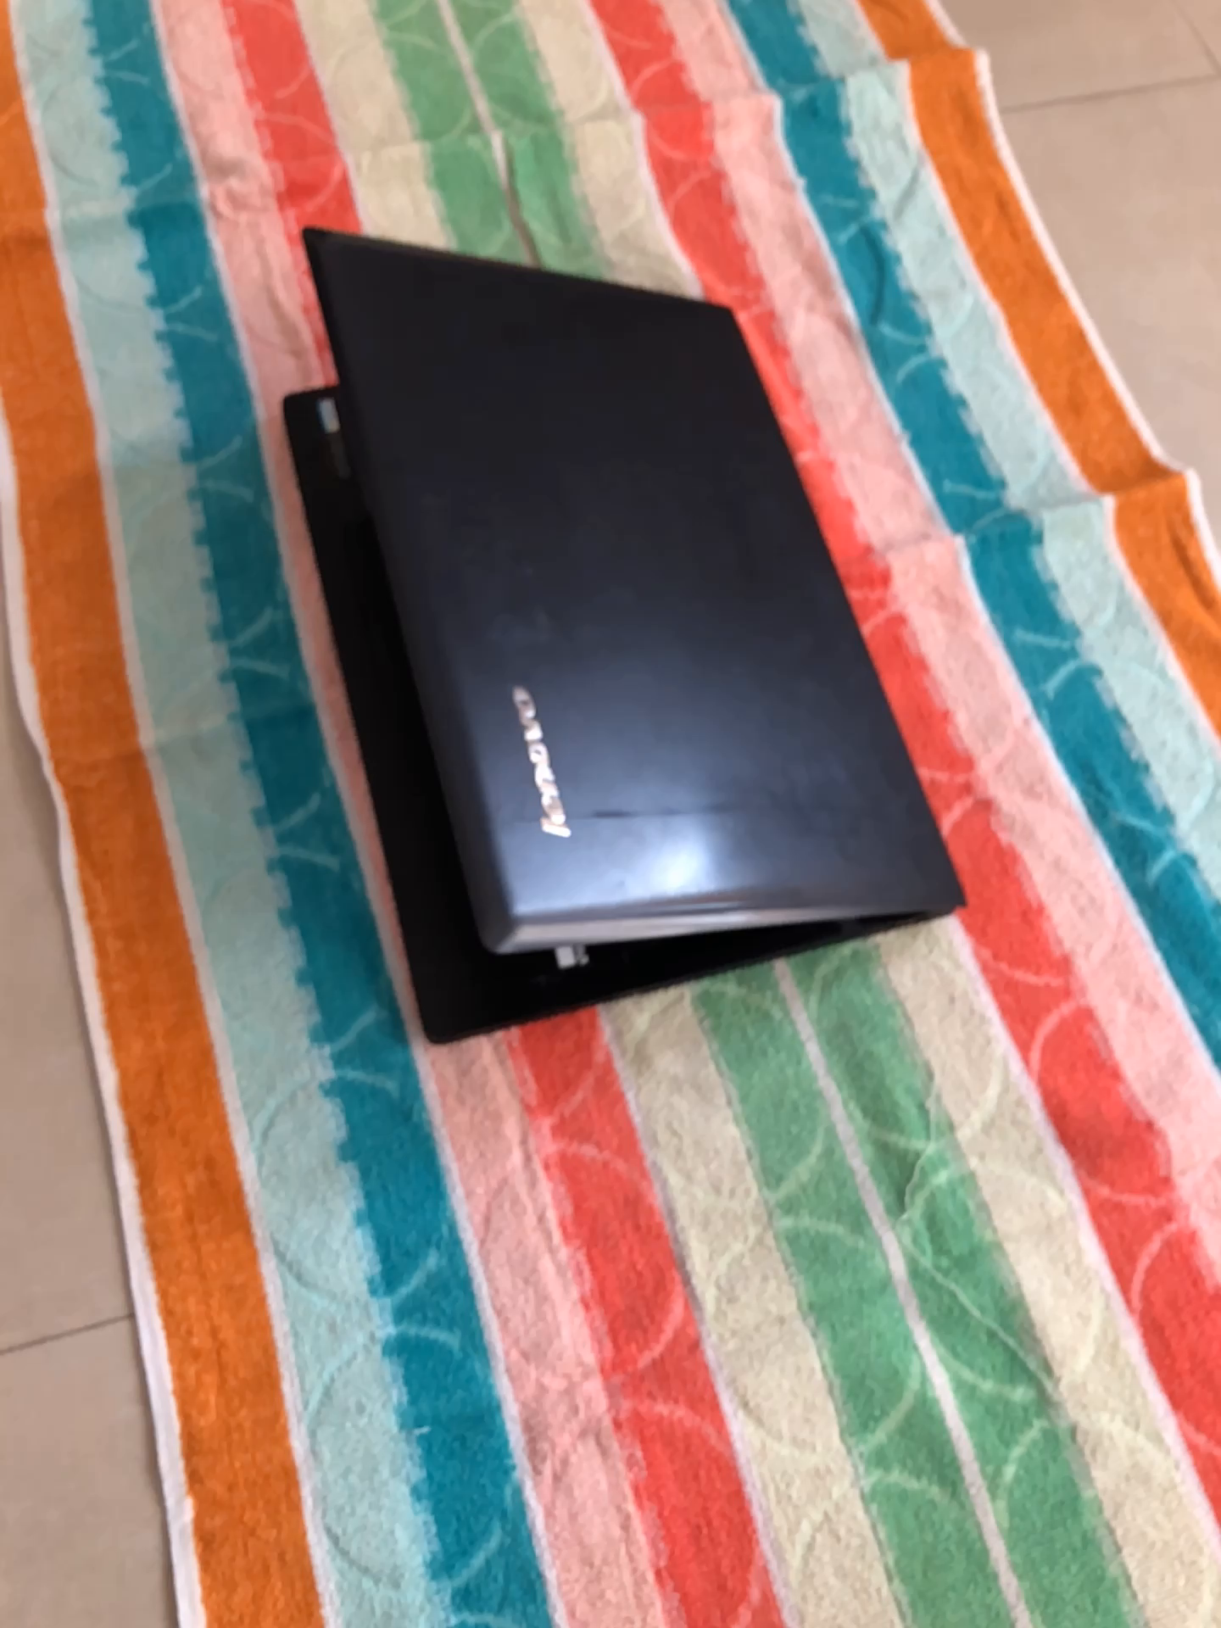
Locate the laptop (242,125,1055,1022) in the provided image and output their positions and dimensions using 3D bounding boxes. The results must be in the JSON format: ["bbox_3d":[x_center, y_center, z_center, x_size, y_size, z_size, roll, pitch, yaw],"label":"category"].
[{"bbox_3d":[0.001,-0.123,0.631,0.253,0.126,0.364,-13,69,-12],"label":"laptop"}]
